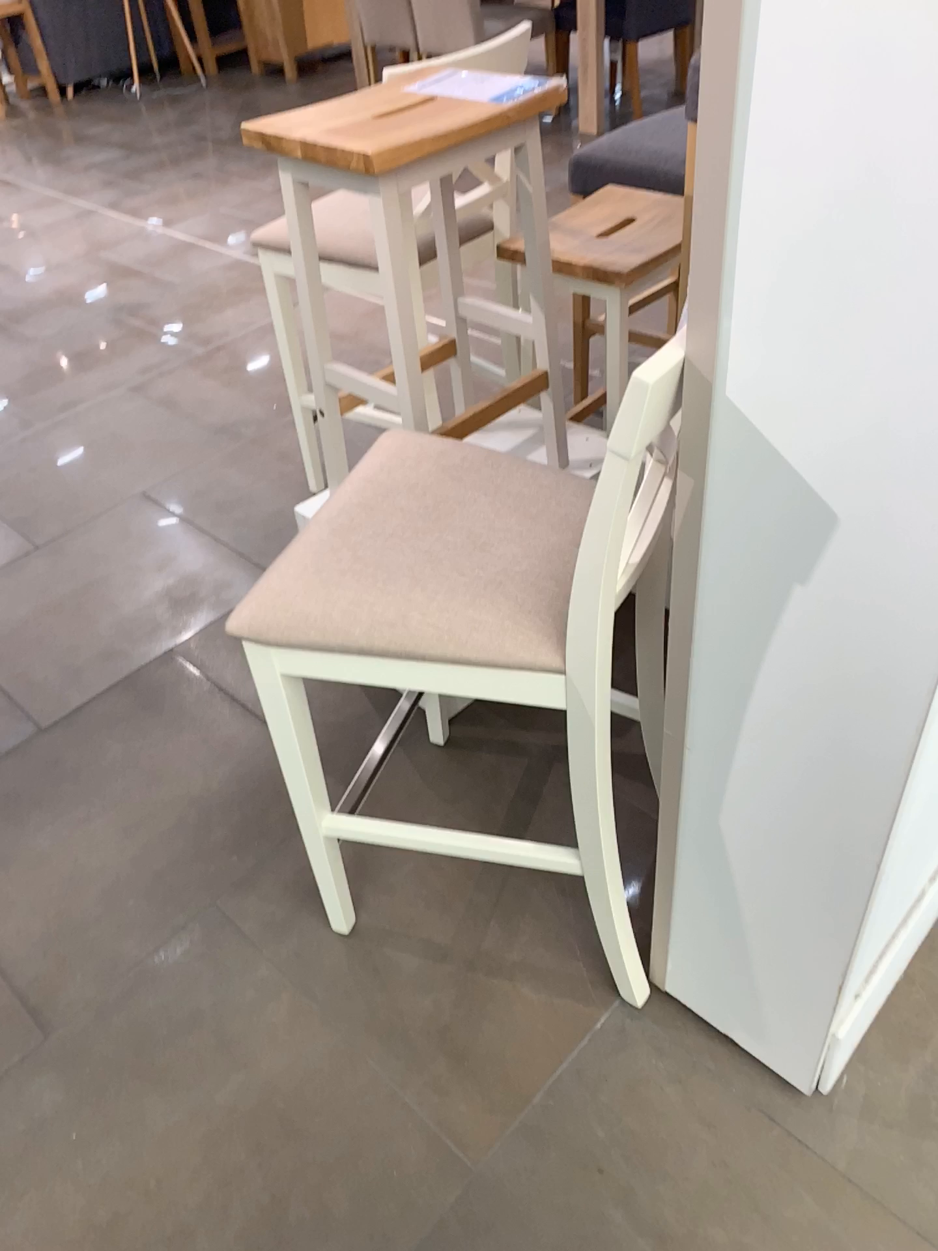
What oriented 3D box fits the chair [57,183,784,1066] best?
[{"bbox_3d":[0.021,0.024,1.185,0.538,0.938,0.453,12,44,21],"label":"chair"}]
